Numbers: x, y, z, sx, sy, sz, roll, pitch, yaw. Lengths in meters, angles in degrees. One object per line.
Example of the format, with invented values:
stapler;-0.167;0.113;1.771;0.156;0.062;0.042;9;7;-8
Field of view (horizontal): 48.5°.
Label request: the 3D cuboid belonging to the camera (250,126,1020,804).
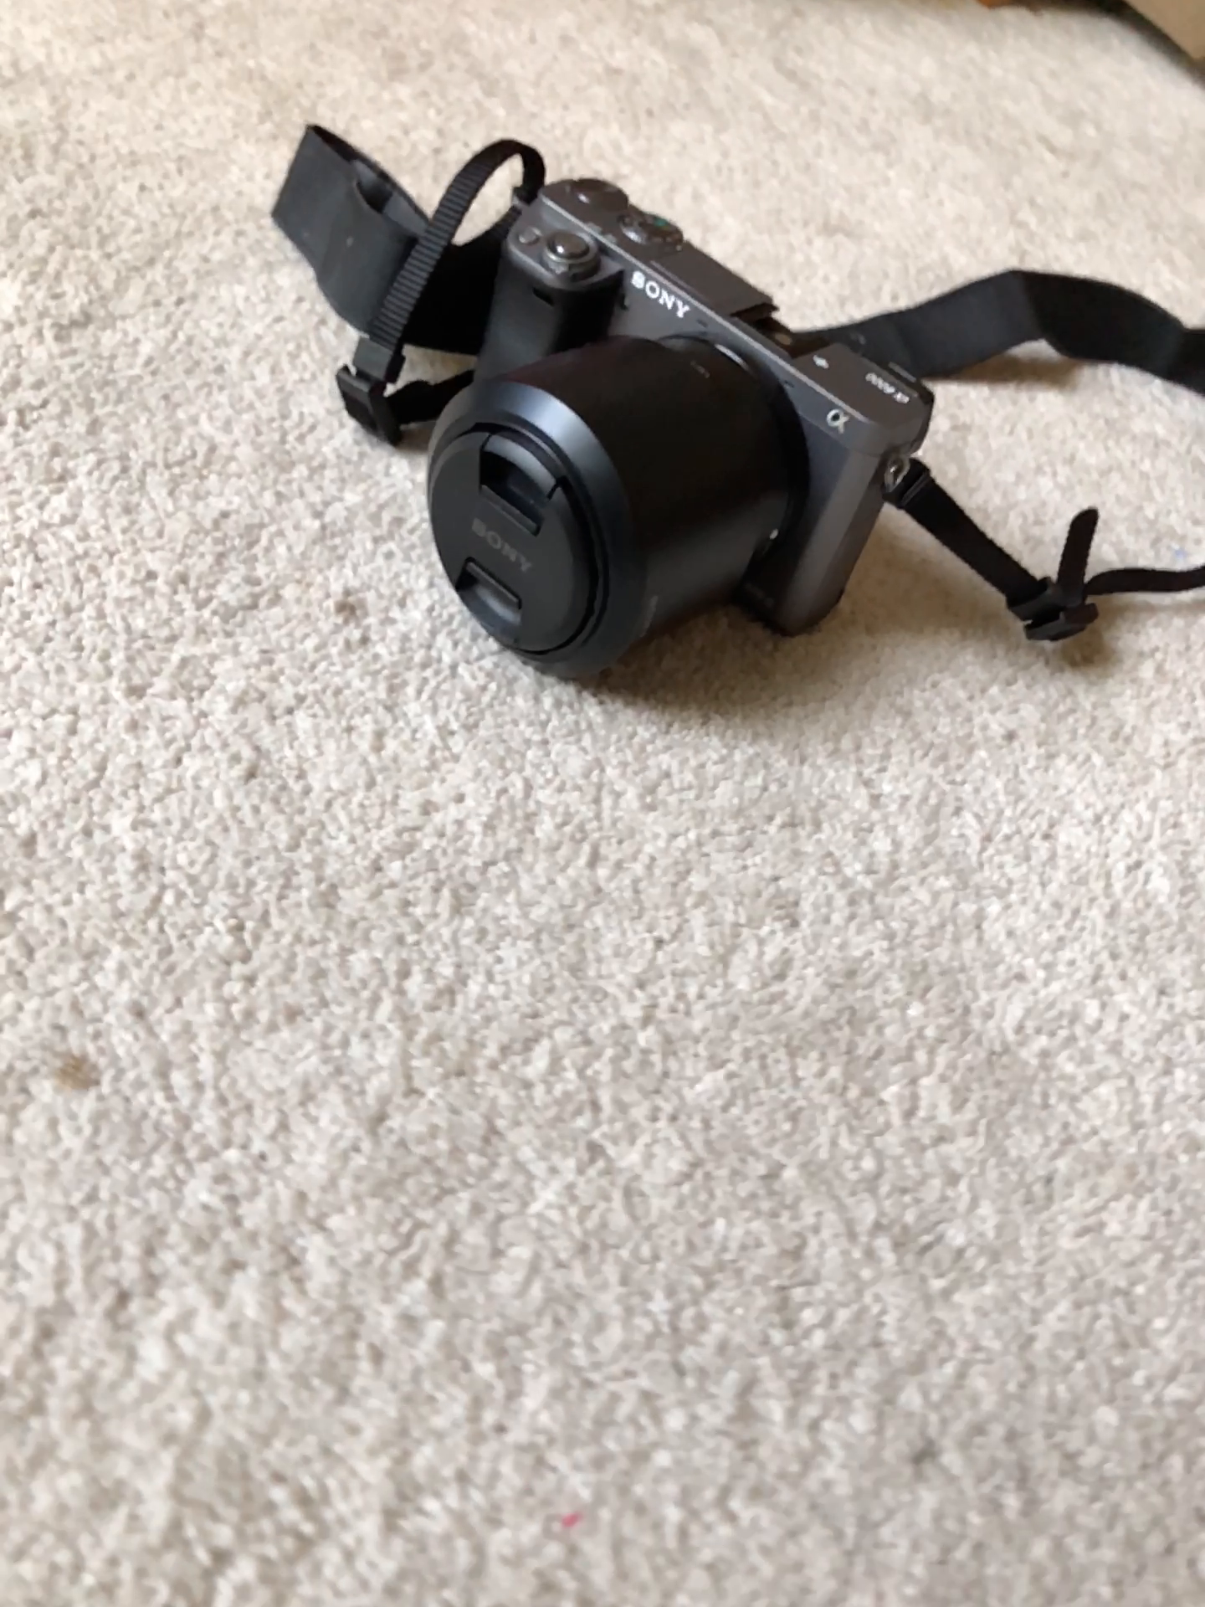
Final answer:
camera;0.005;-0.092;0.333;0.130;0.080;0.120;40;48;19
